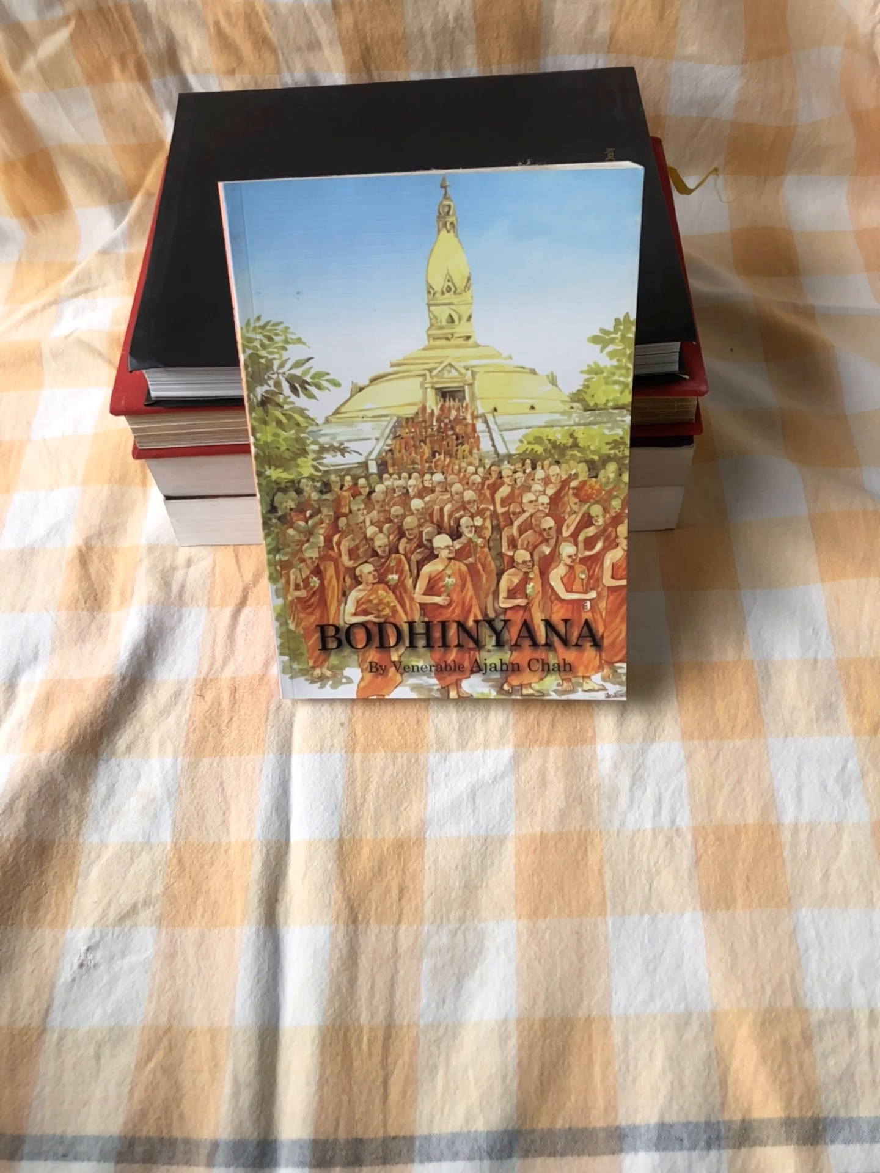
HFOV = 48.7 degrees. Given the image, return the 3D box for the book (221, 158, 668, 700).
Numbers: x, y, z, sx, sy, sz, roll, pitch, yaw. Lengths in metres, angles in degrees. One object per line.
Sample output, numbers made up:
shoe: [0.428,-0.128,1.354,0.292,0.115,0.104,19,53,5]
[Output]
book: [0.003,-0.054,0.374,0.150,0.200,0.030,1,21,4]
